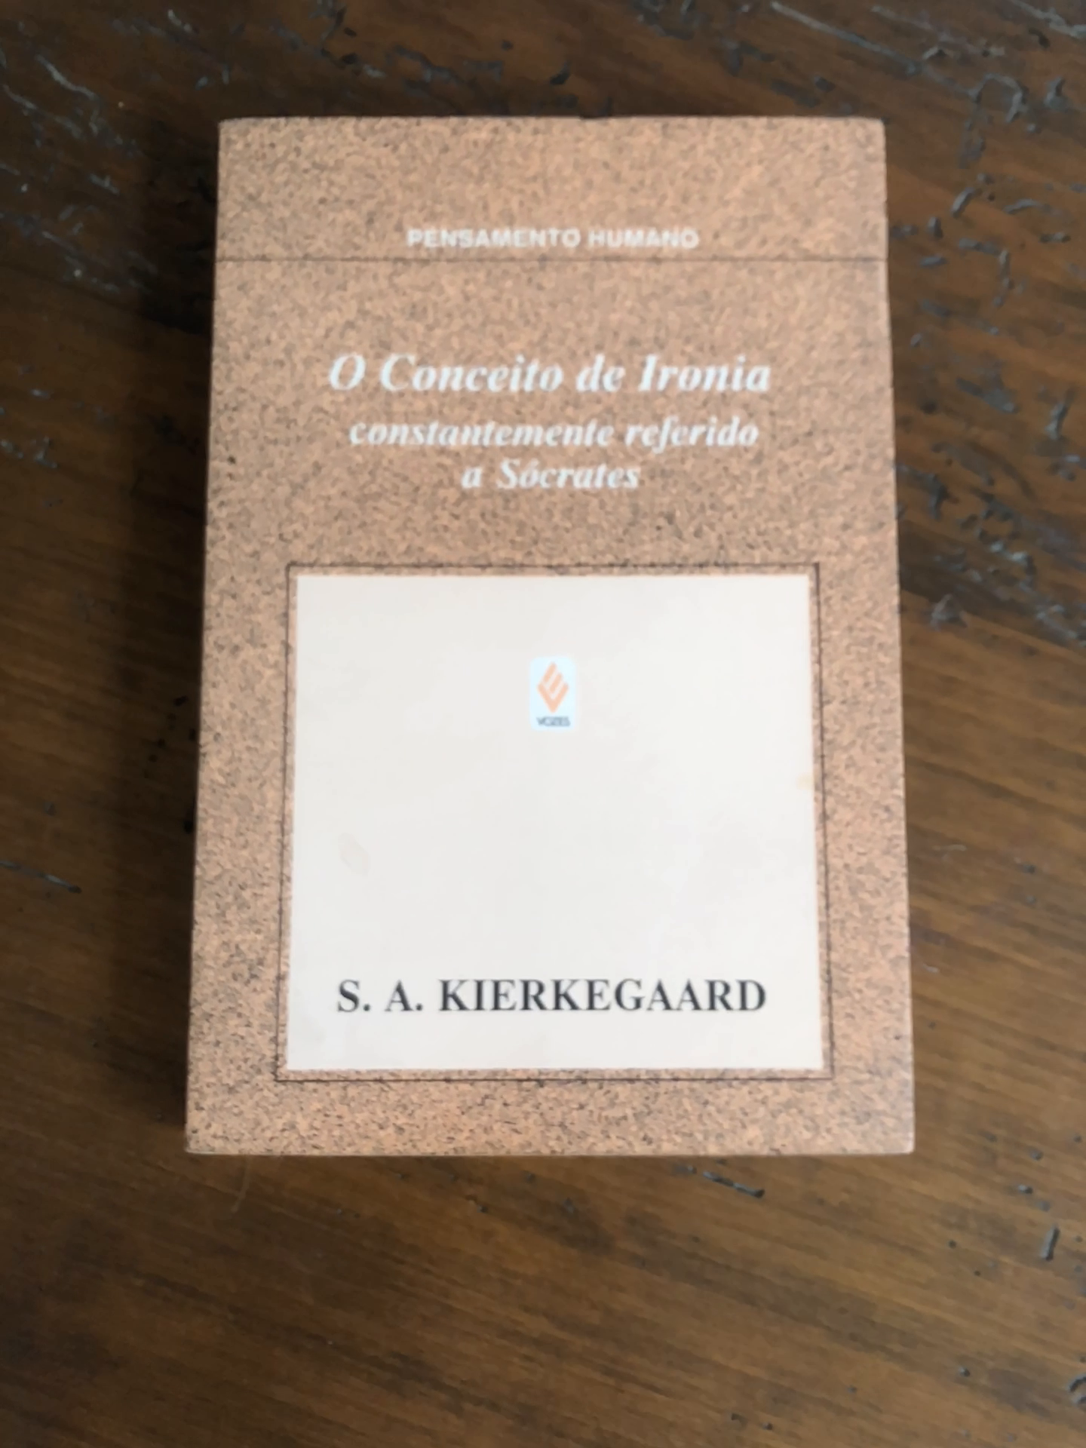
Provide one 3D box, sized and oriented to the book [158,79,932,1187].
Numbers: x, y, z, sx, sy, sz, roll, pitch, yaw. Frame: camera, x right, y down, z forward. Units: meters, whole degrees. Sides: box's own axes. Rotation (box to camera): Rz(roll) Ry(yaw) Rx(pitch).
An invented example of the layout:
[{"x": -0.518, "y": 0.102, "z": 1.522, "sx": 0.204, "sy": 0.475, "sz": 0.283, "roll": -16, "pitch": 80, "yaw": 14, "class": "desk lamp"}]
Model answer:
[{"x": 0.001, "y": -0.022, "z": 0.252, "sx": 0.144, "sy": 0.024, "sz": 0.220, "roll": 0, "pitch": 84, "yaw": -1, "class": "book"}]
